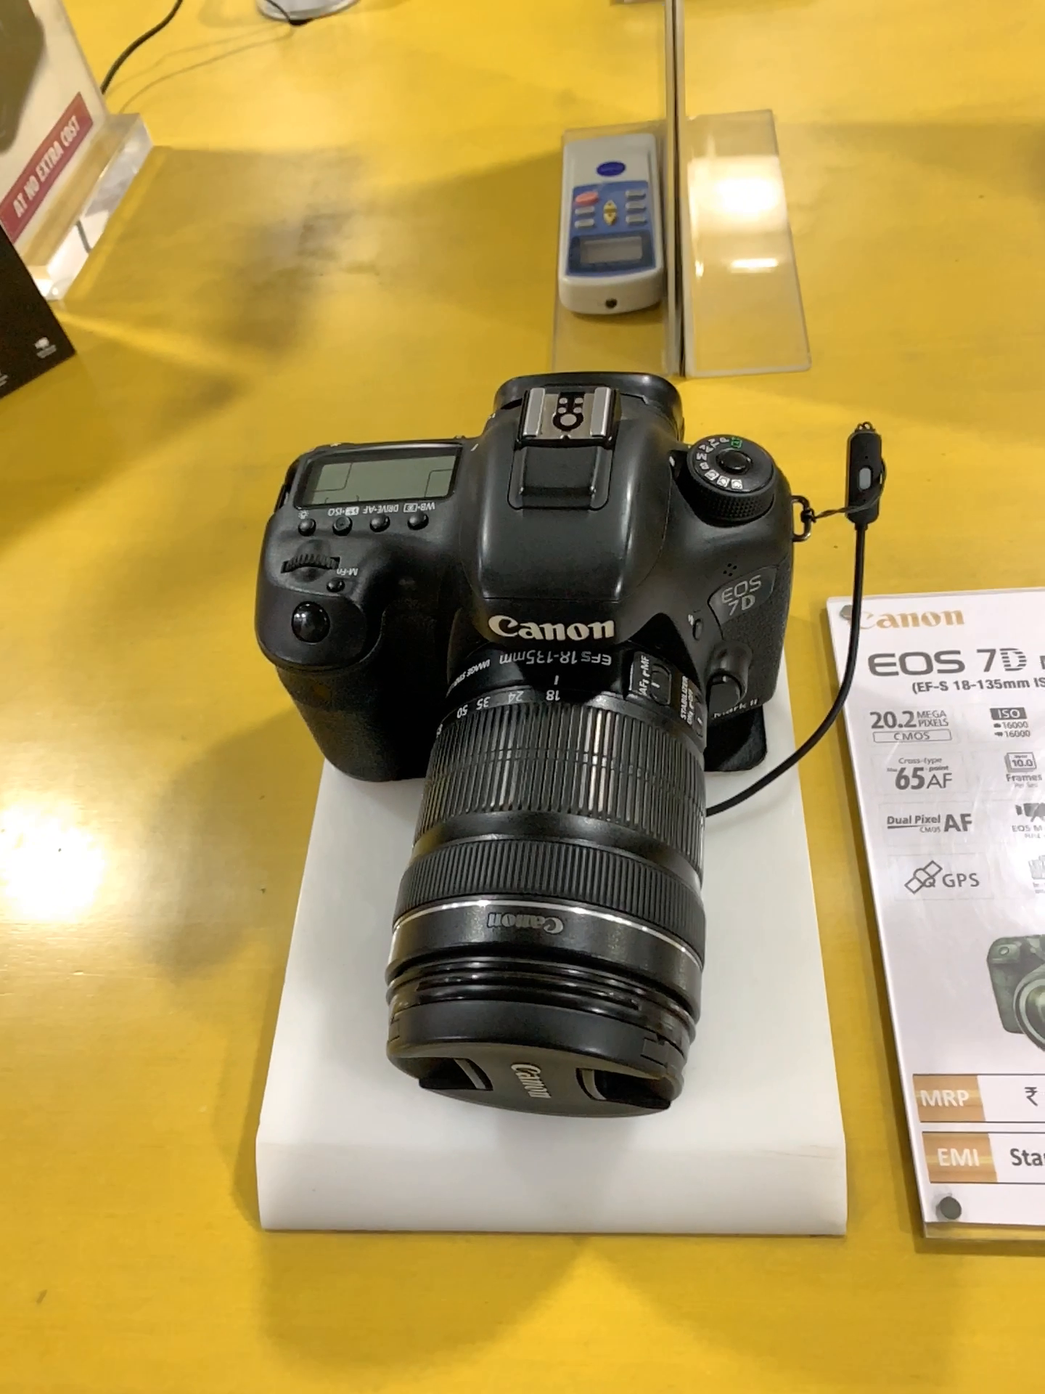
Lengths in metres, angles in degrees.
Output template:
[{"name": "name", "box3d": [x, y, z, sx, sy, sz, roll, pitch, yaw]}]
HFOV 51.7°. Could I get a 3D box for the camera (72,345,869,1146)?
[{"name": "camera", "box3d": [0.002, 0.013, 0.279, 0.140, 0.120, 0.160, 1, 55, 9]}]
